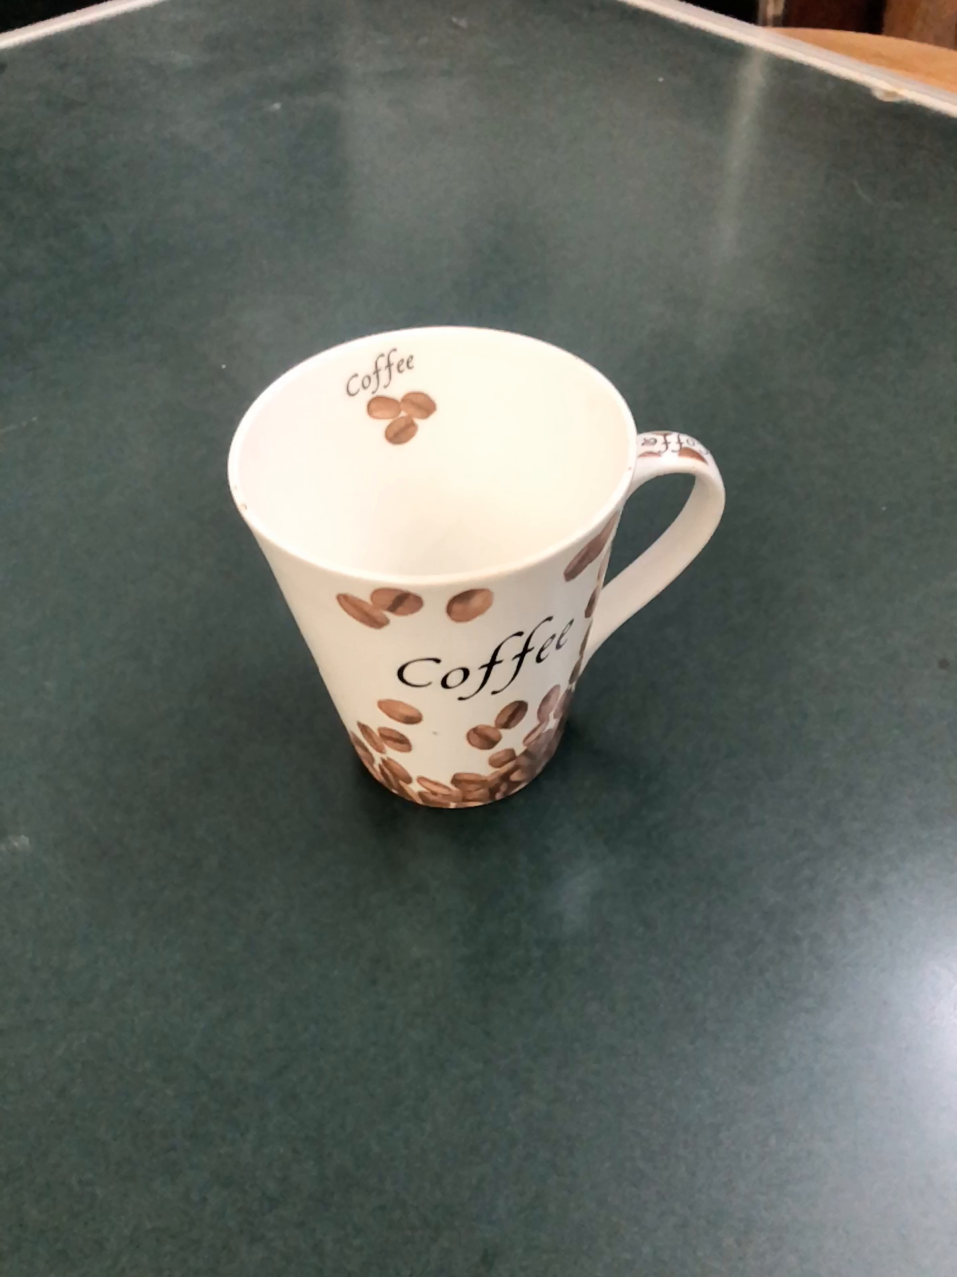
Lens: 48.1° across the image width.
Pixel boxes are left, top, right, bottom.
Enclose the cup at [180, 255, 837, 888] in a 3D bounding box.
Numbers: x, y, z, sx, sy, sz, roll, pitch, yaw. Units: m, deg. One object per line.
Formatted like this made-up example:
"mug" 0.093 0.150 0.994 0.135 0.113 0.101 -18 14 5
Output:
"cup" 0.001 -0.018 0.263 0.120 0.090 0.100 -12 48 -7
